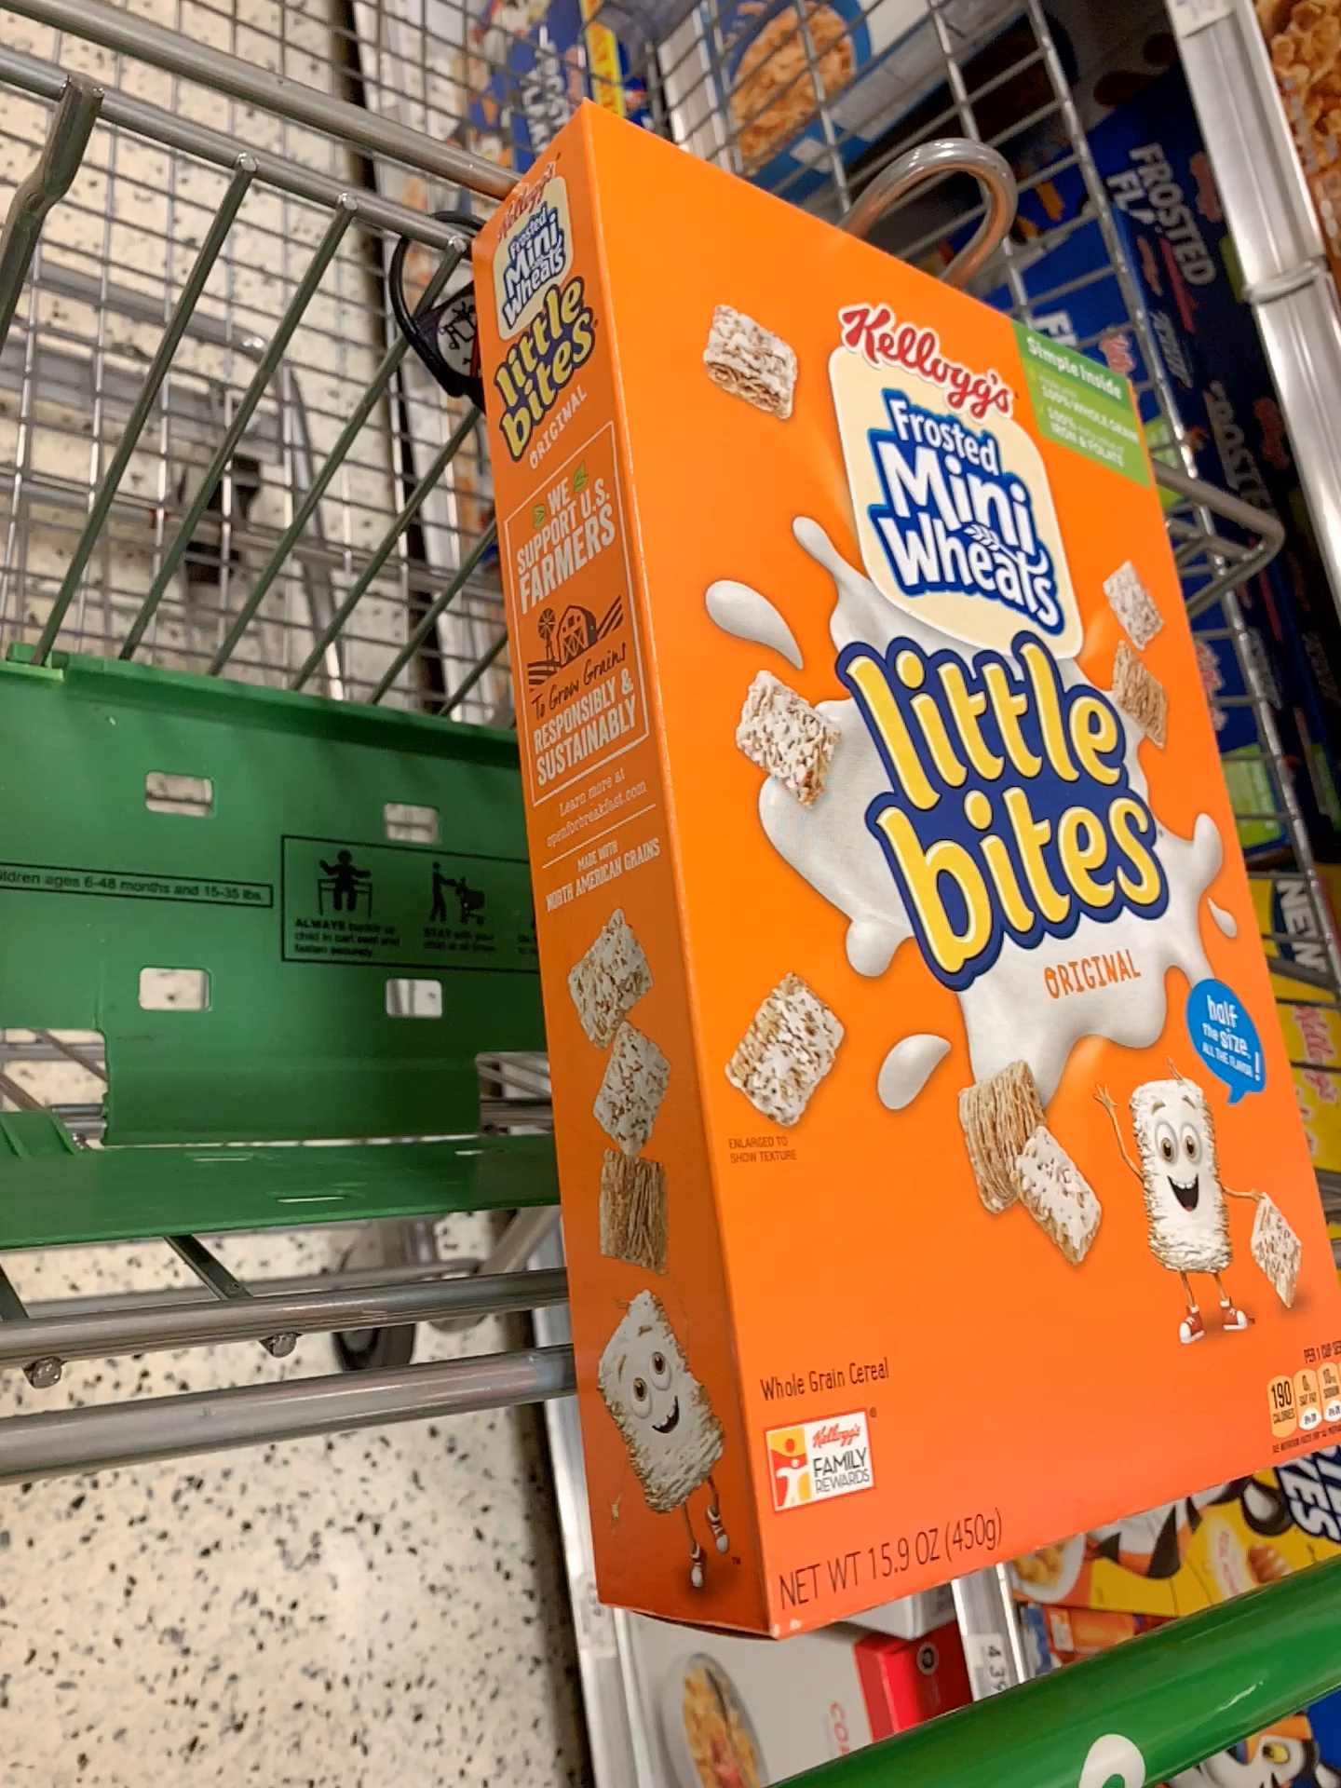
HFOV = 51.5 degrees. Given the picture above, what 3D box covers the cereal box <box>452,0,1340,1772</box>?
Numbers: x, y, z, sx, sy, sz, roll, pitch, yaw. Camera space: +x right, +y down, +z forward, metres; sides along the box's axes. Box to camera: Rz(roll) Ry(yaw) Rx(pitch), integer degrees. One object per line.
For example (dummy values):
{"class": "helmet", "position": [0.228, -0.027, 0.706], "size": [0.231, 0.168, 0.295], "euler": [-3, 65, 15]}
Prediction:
{"class": "cereal box", "position": [0.069, -0.016, 0.323], "size": [0.211, 0.060, 0.321], "euler": [6, 69, -38]}
